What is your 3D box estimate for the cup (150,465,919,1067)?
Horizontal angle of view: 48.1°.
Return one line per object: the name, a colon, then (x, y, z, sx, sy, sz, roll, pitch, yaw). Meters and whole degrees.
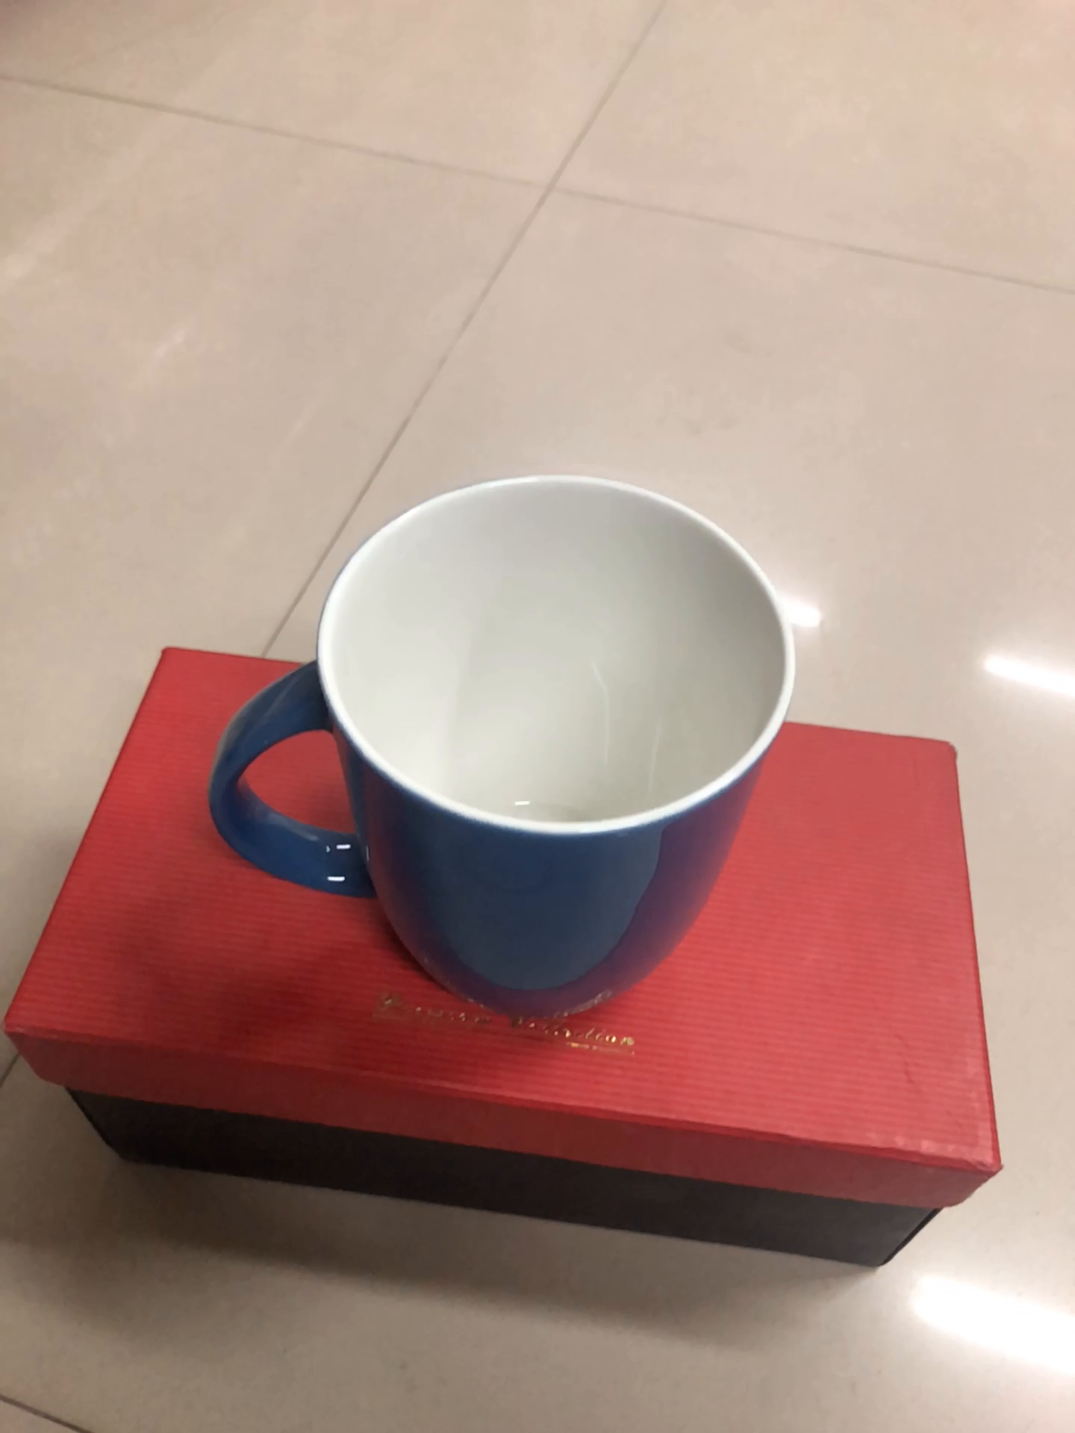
cup: (-0.003, 0.010, 0.228, 0.110, 0.080, 0.080, -1, 52, -3)
